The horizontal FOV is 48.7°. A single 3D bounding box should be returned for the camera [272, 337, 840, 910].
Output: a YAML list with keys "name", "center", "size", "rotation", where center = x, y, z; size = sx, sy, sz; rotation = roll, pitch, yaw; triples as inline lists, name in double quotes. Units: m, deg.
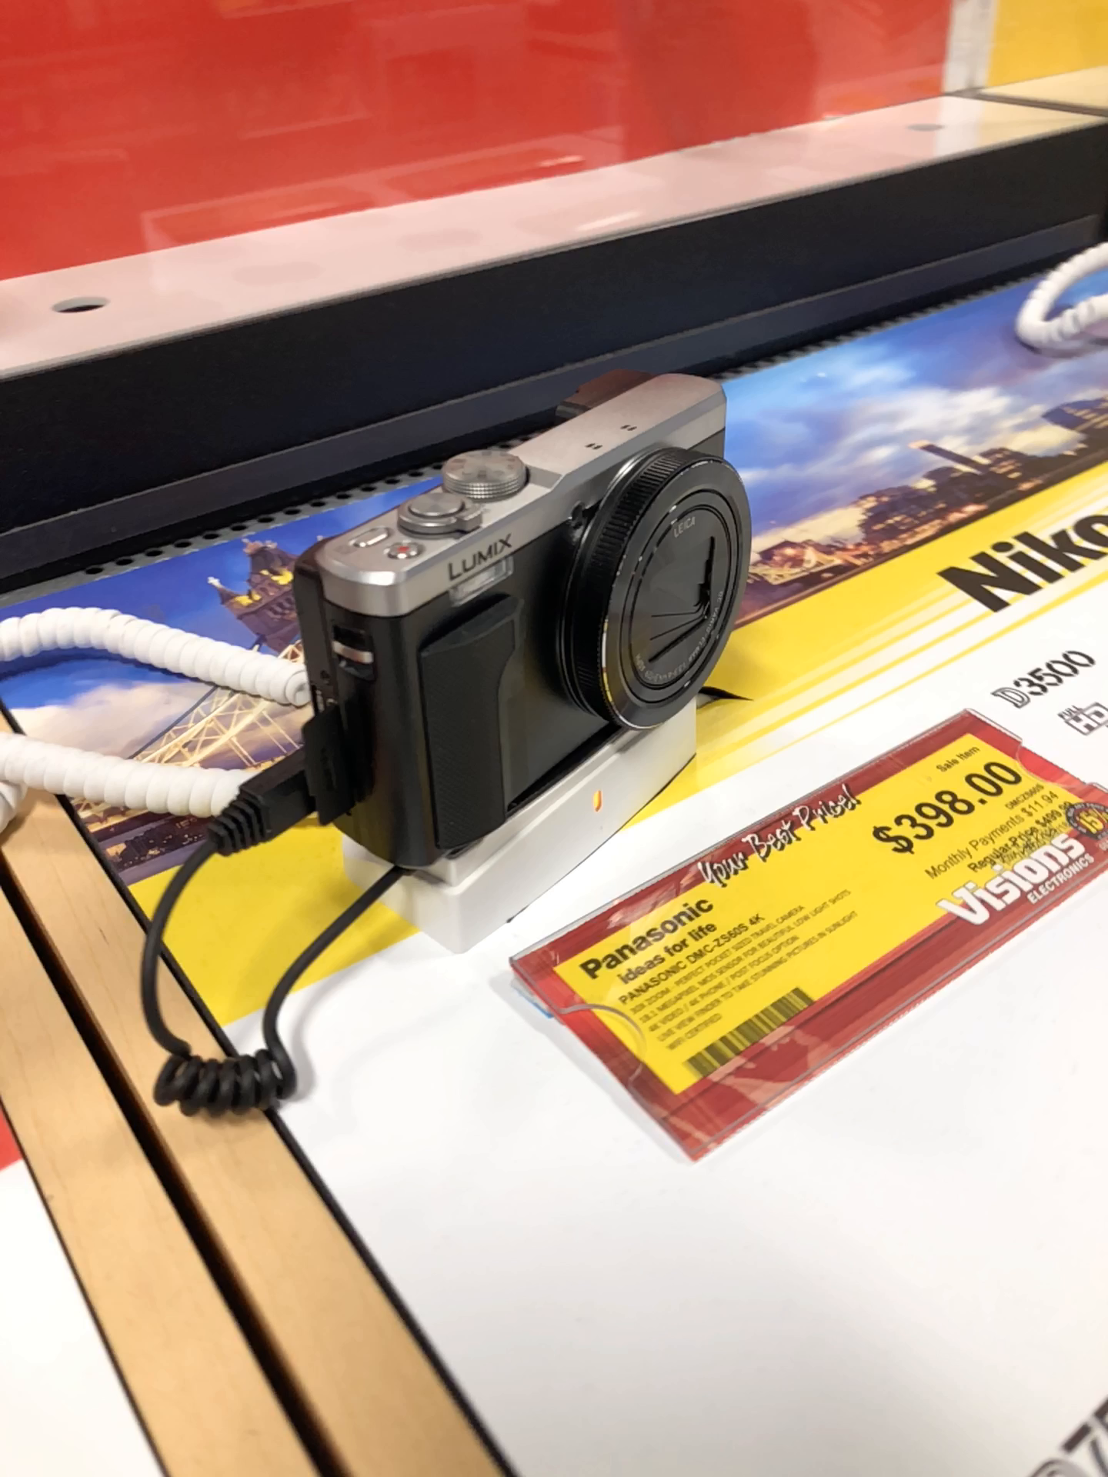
- name: "camera"
  center: [0.008, -0.030, 0.243]
  size: [0.040, 0.060, 0.120]
  rotation: [22, 43, 31]
